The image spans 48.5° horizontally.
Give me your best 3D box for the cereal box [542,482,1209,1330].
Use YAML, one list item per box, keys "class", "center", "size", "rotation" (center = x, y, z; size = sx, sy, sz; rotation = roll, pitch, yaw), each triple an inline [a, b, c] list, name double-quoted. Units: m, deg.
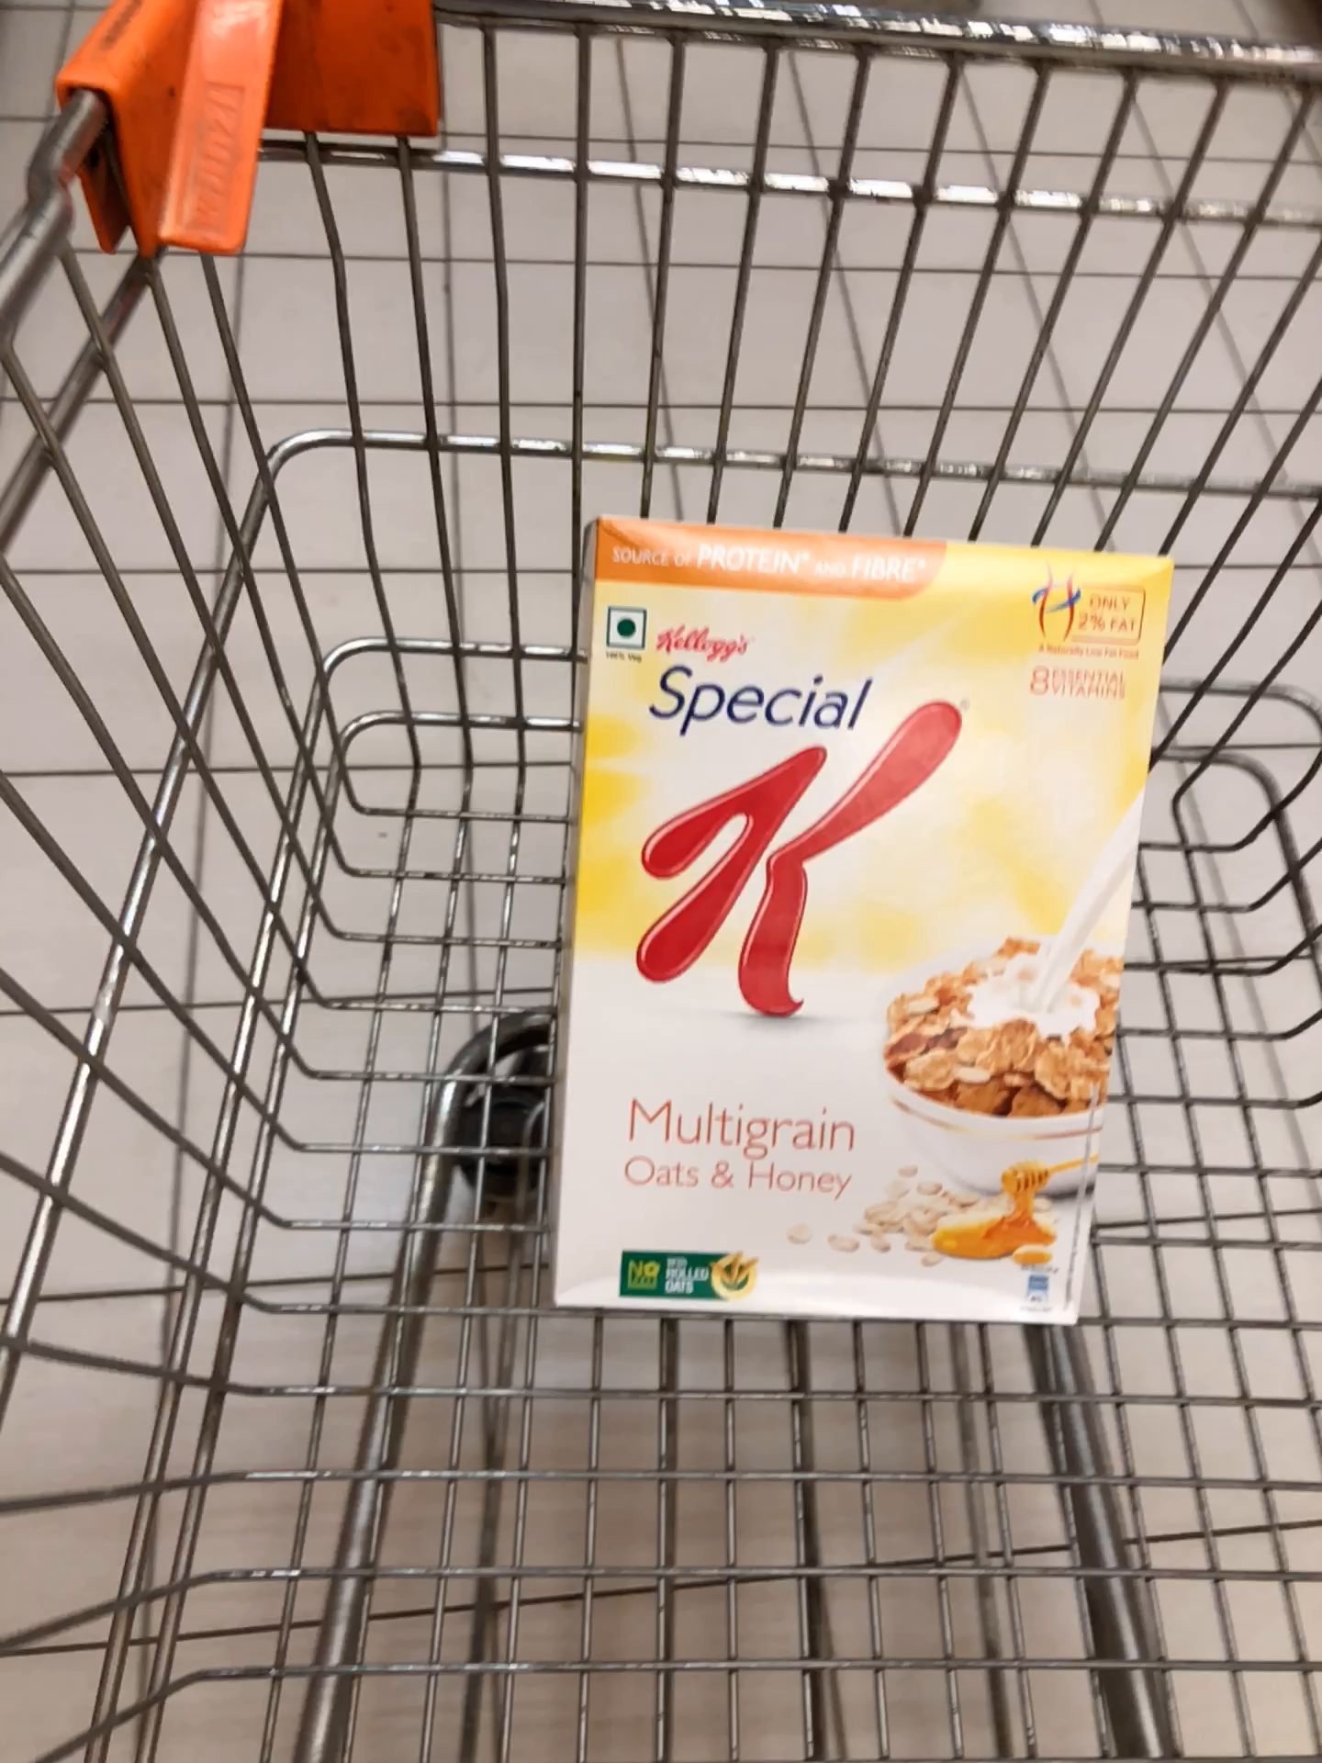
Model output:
- class: "cereal box"
  center: [0.062, 0.008, 0.518]
  size: [0.190, 0.090, 0.270]
  rotation: [4, 102, -5]
